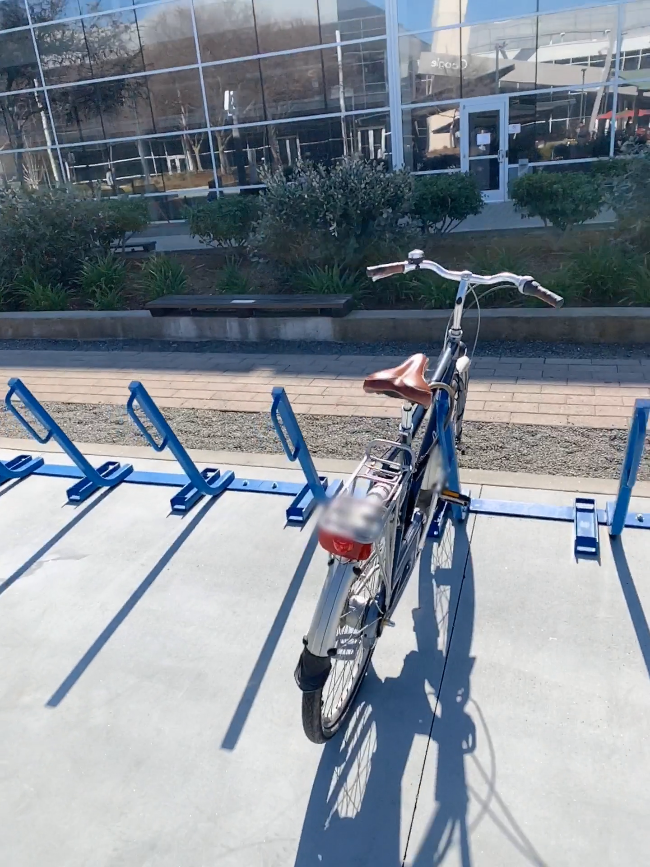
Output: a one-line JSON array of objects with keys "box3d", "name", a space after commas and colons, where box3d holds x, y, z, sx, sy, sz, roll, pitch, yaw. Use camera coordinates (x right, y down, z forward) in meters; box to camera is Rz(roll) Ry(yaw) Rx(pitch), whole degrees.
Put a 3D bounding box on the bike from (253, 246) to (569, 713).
[{"box3d": [0.349, 0.007, 1.975, 0.592, 0.916, 1.064, 5, 25, 23], "name": "bike"}]
